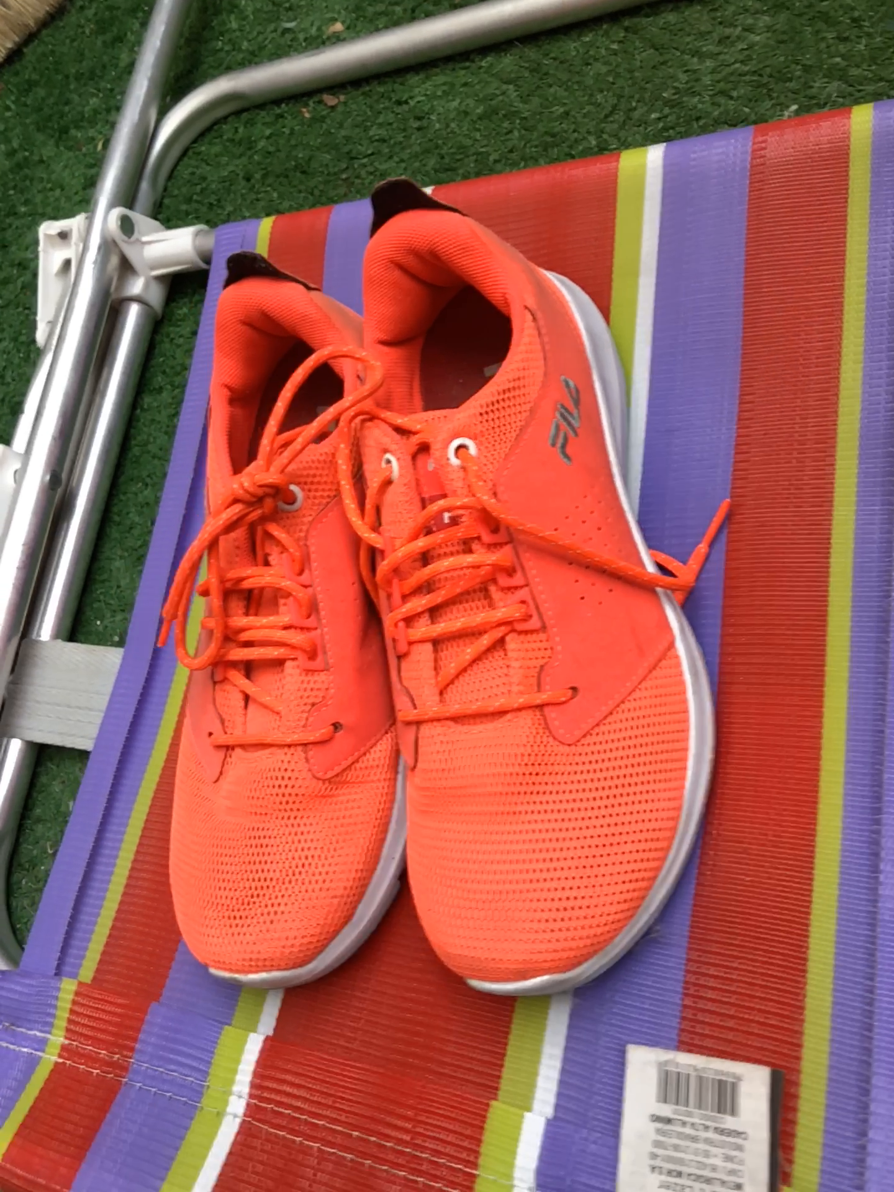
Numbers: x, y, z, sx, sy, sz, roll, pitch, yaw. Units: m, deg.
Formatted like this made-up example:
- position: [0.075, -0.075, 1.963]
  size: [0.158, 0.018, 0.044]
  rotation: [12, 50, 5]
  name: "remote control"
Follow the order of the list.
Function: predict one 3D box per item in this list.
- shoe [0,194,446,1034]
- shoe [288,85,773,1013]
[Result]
- position: [-0.071, 0.008, 0.320]
  size: [0.100, 0.100, 0.230]
  rotation: [-4, 70, 21]
  name: "shoe"
- position: [0.024, -0.010, 0.305]
  size: [0.100, 0.090, 0.250]
  rotation: [-11, 67, 25]
  name: "shoe"
